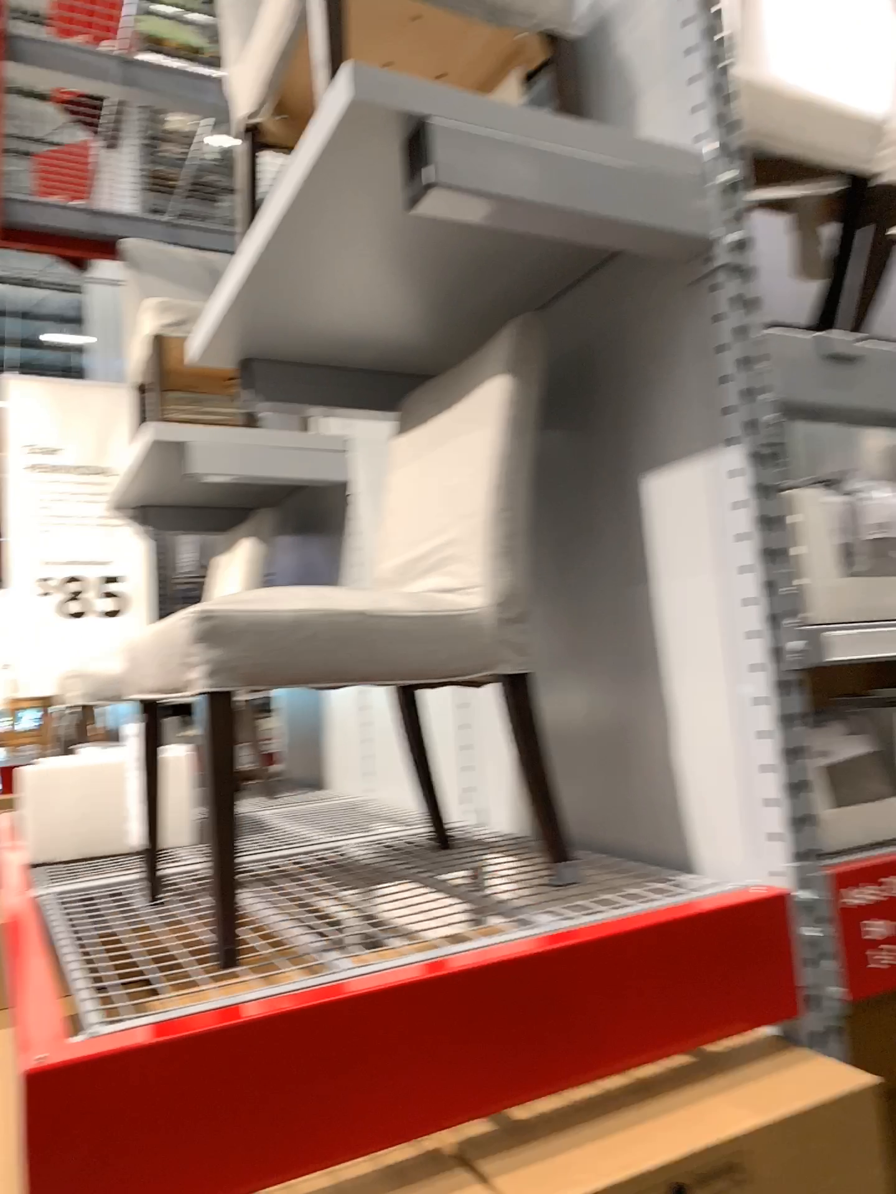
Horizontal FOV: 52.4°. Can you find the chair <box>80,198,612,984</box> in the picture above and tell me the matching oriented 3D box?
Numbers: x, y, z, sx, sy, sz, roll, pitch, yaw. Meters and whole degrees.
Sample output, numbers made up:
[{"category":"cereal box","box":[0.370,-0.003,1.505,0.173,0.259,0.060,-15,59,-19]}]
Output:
[{"category":"chair","box":[-0.210,-0.003,1.532,0.669,0.982,0.560,-1,-7,-29]}]
